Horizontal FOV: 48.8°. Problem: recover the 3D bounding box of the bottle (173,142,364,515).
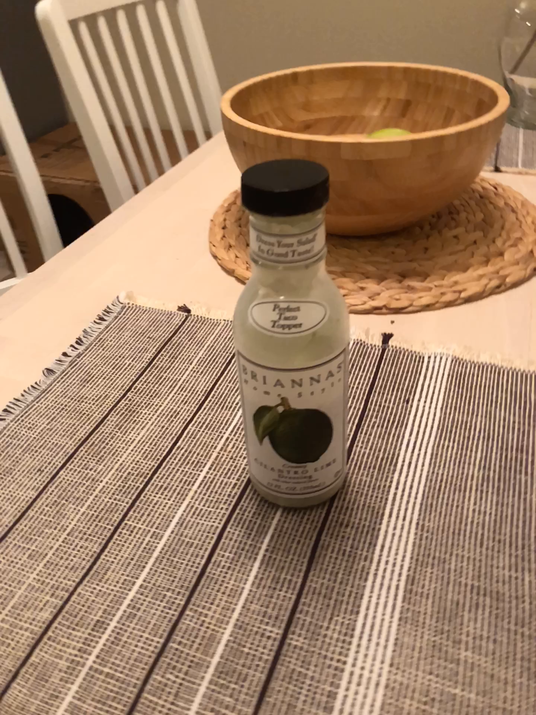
[{"bbox_3d":[0.008,-0.008,0.311,0.074,0.186,0.070,-2,37,2],"label":"bottle"}]
